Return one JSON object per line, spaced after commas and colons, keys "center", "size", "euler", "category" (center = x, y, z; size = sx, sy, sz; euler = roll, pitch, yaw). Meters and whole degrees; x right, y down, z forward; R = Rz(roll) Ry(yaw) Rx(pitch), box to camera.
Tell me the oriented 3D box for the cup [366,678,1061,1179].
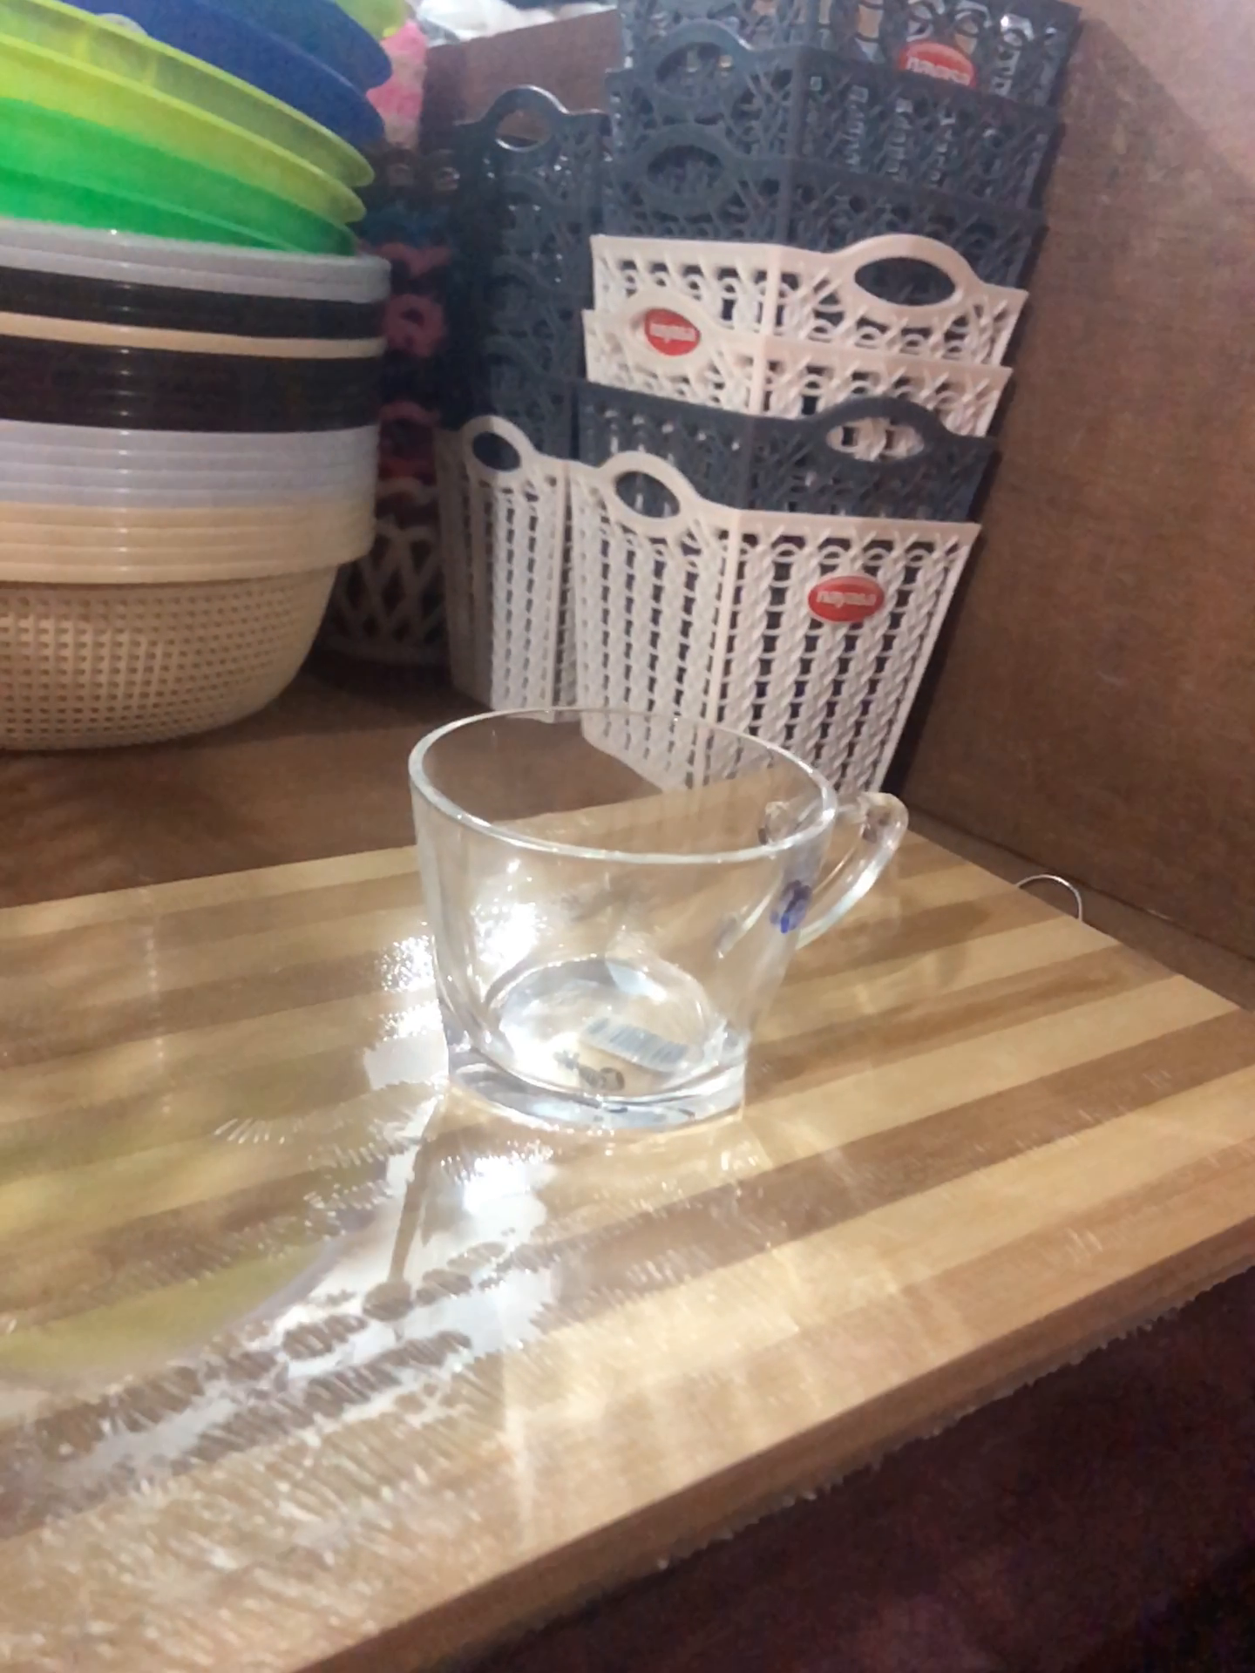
{"center": [0.014, 0.010, 0.274], "size": [0.110, 0.060, 0.070], "euler": [-7, 26, -29], "category": "cup"}
